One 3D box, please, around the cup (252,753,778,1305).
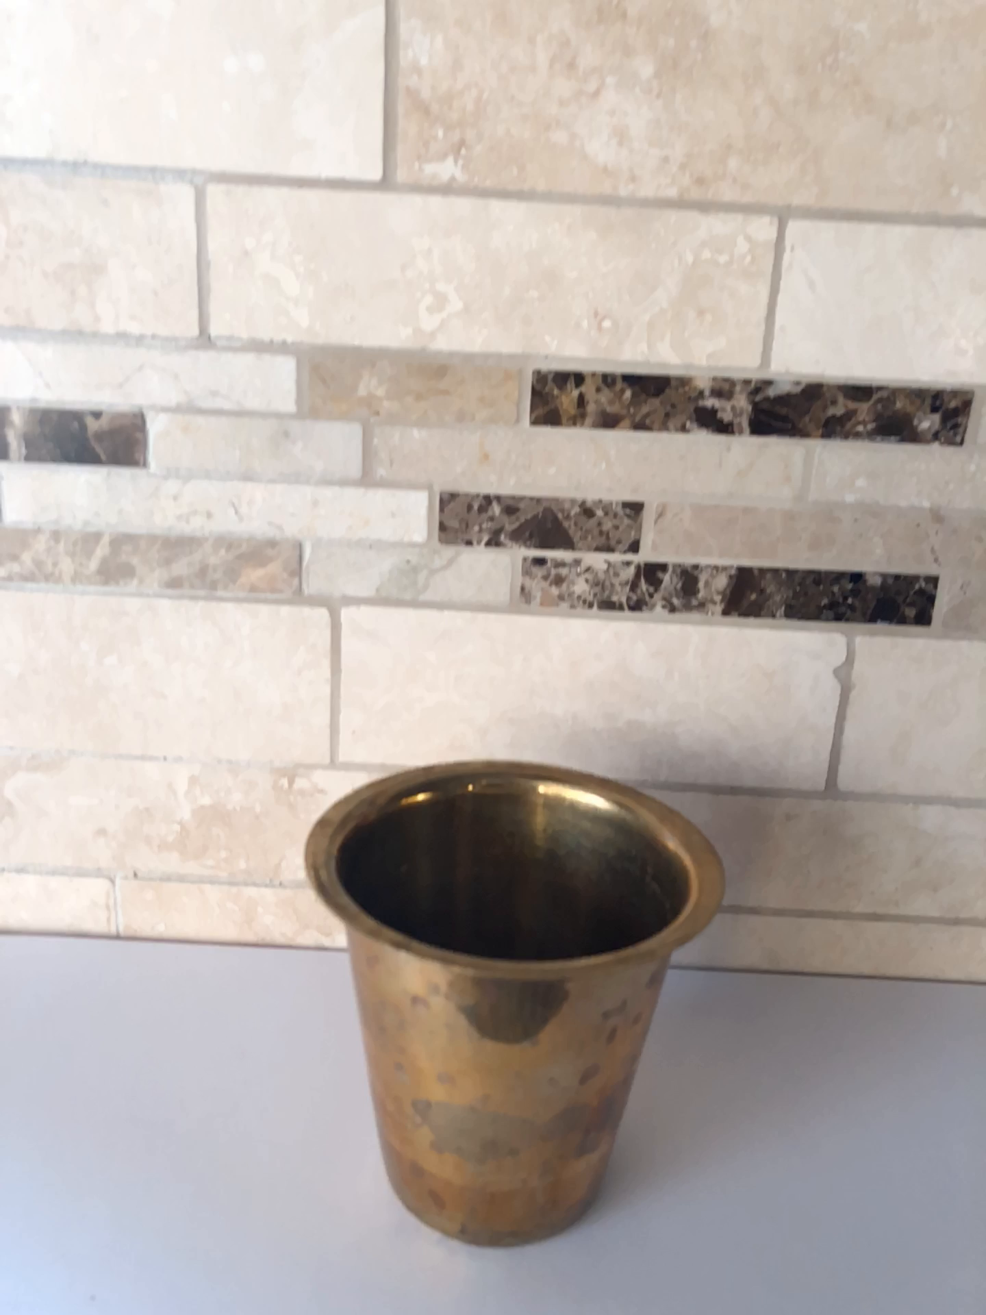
[{"bbox_3d":[0.000,0.068,0.220,0.083,0.071,0.075,2,19,-4],"label":"cup"}]
